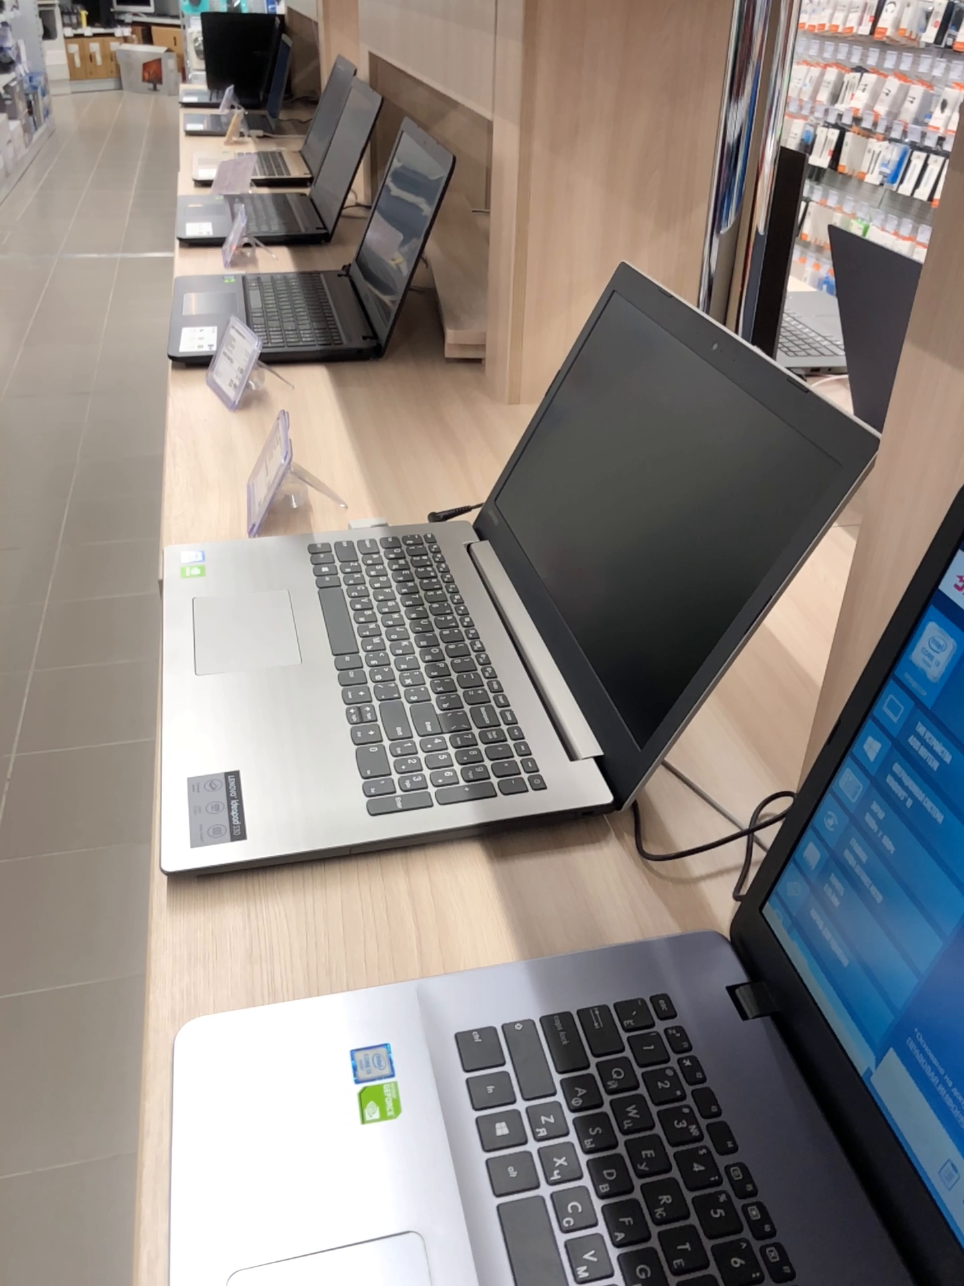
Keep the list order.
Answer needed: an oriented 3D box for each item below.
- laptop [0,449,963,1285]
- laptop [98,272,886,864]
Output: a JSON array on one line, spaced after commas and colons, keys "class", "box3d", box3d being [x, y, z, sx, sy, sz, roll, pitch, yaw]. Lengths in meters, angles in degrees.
[{"class": "laptop", "box3d": [0.074, 0.154, 0.272, 0.334, 0.246, 0.405, -6, 32, -11]}, {"class": "laptop", "box3d": [-0.027, -0.087, 0.686, 0.365, 0.208, 0.372, -6, 32, -12]}]
